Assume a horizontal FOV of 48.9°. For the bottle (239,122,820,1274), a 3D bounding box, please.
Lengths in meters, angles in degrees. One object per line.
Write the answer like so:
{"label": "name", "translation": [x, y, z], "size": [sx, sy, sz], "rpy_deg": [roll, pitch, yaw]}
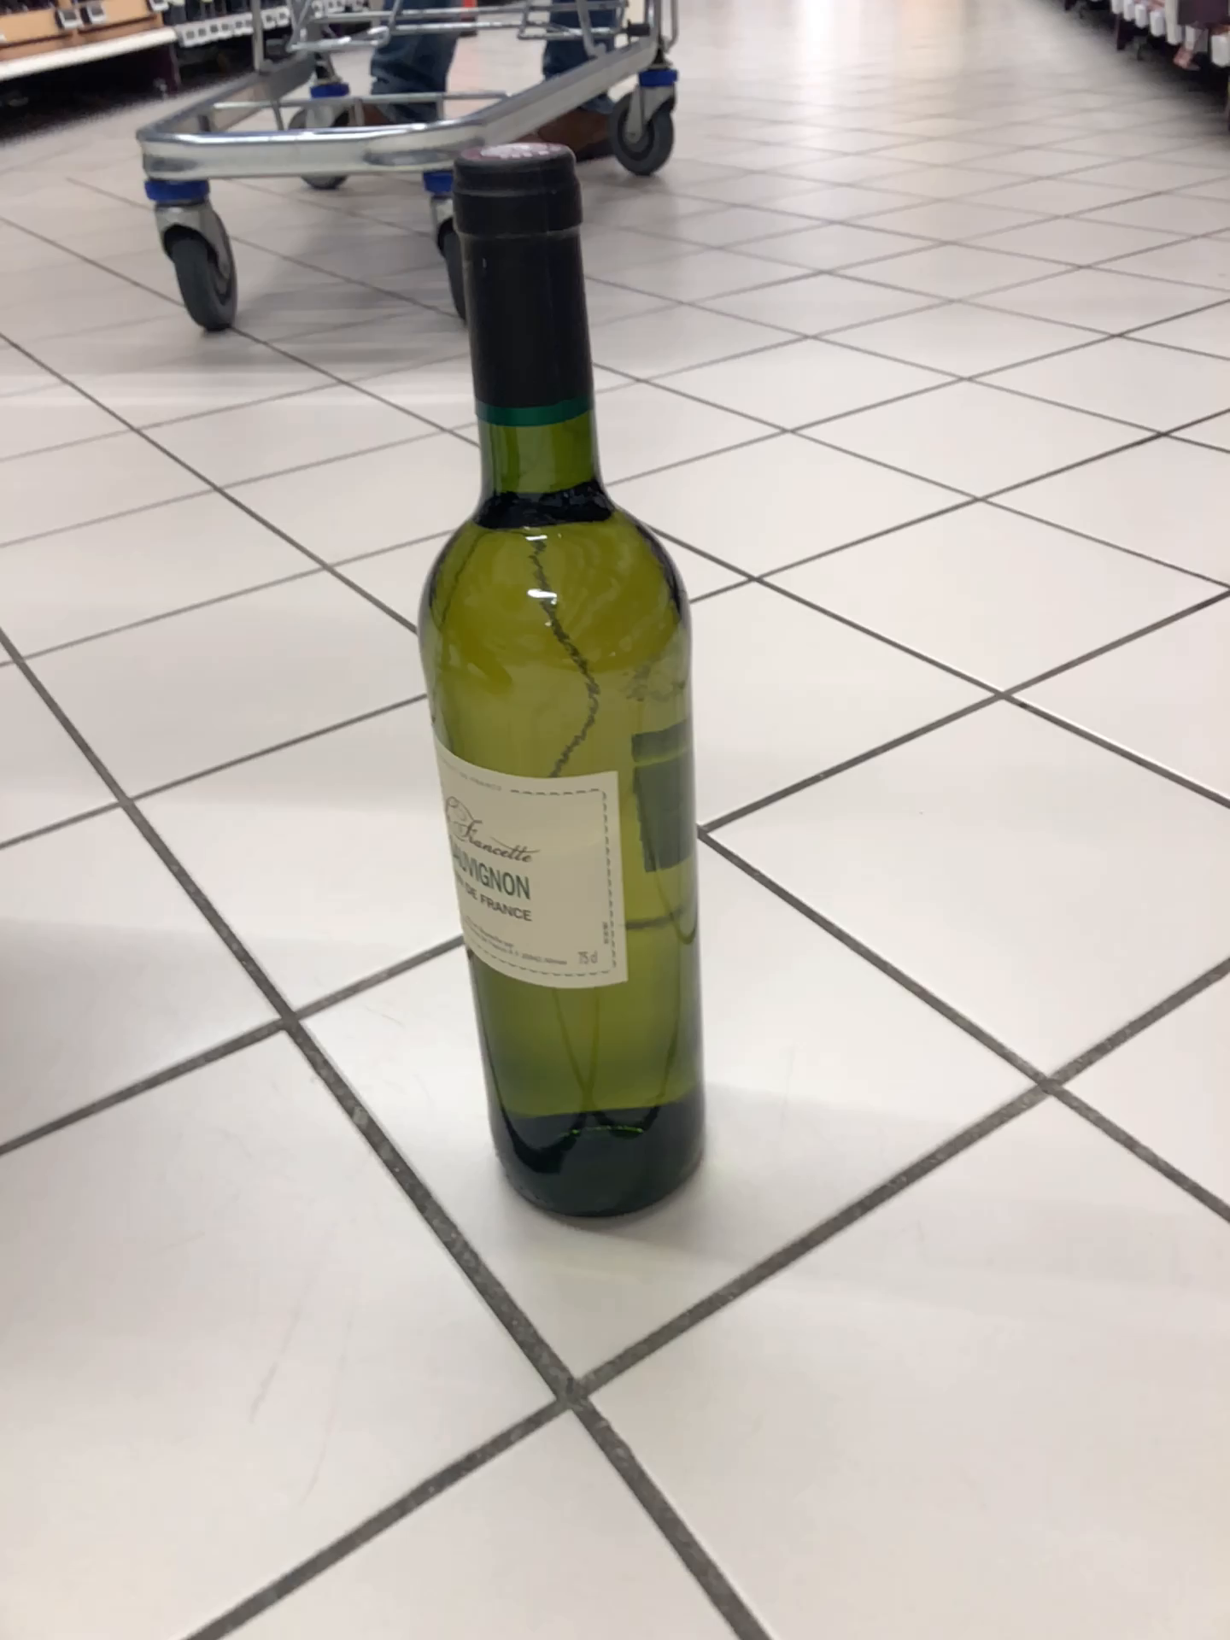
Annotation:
{"label": "bottle", "translation": [-0.011, -0.023, 0.372], "size": [0.090, 0.288, 0.090], "rpy_deg": [-3, 33, 2]}
